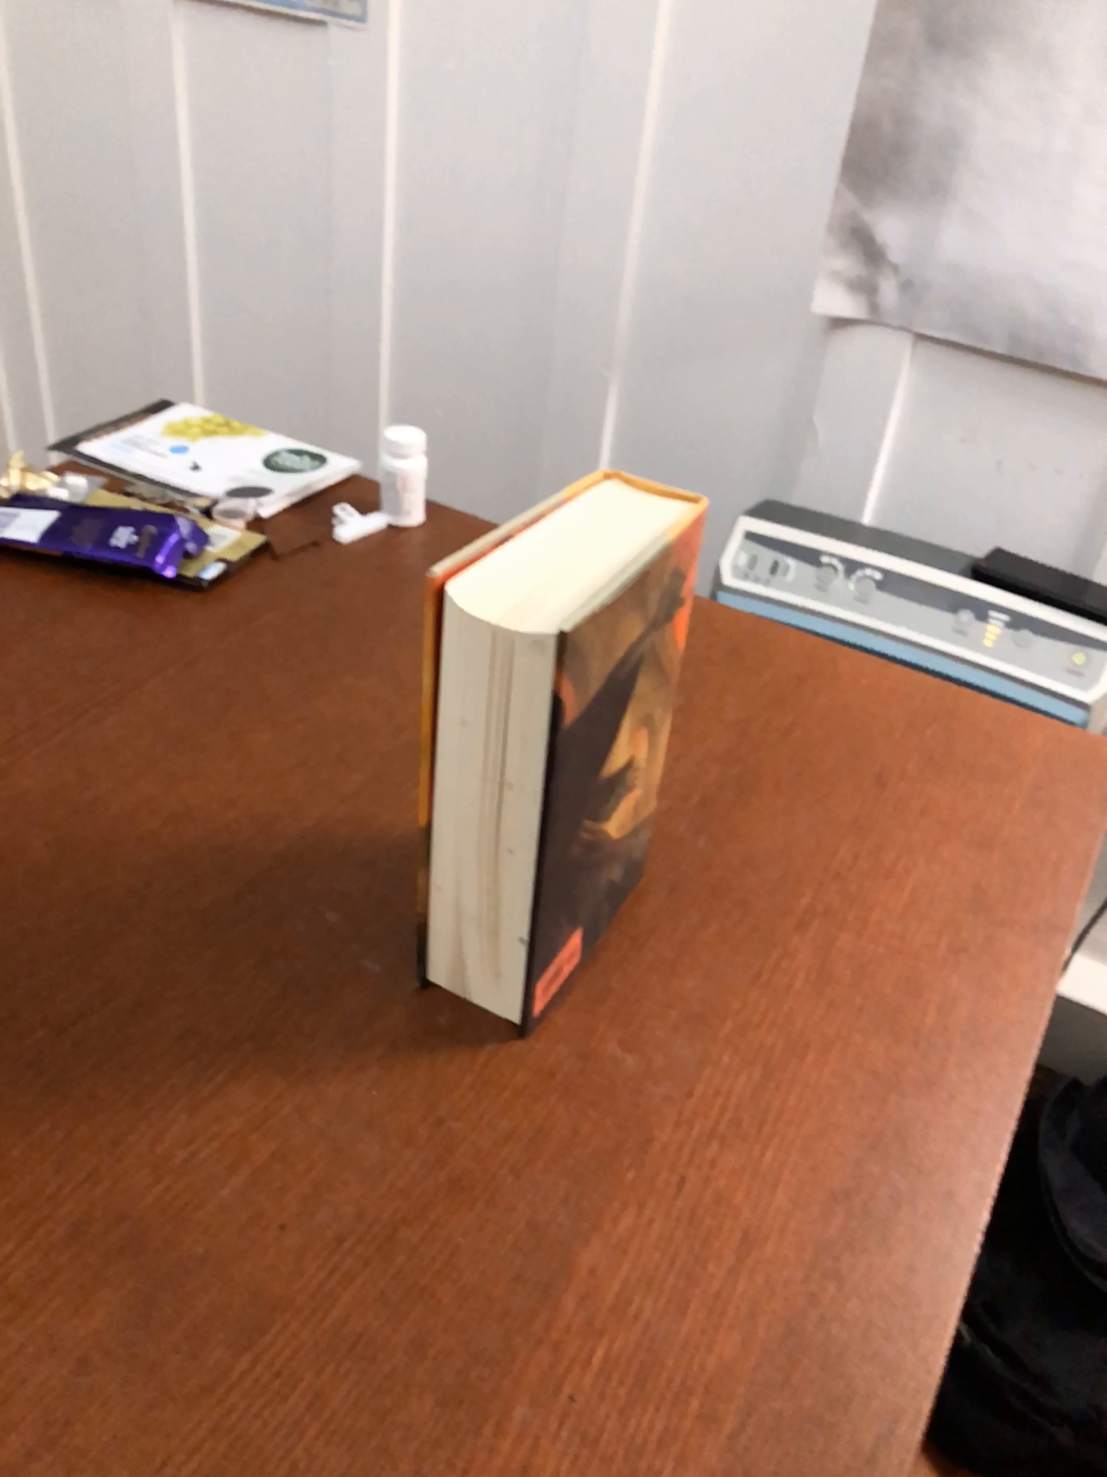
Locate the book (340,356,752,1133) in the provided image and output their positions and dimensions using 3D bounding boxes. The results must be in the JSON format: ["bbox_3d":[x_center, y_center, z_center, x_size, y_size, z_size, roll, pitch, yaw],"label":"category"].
[{"bbox_3d":[-0.006,0.001,0.576,0.070,0.298,0.211,22,37,22],"label":"book"}]
